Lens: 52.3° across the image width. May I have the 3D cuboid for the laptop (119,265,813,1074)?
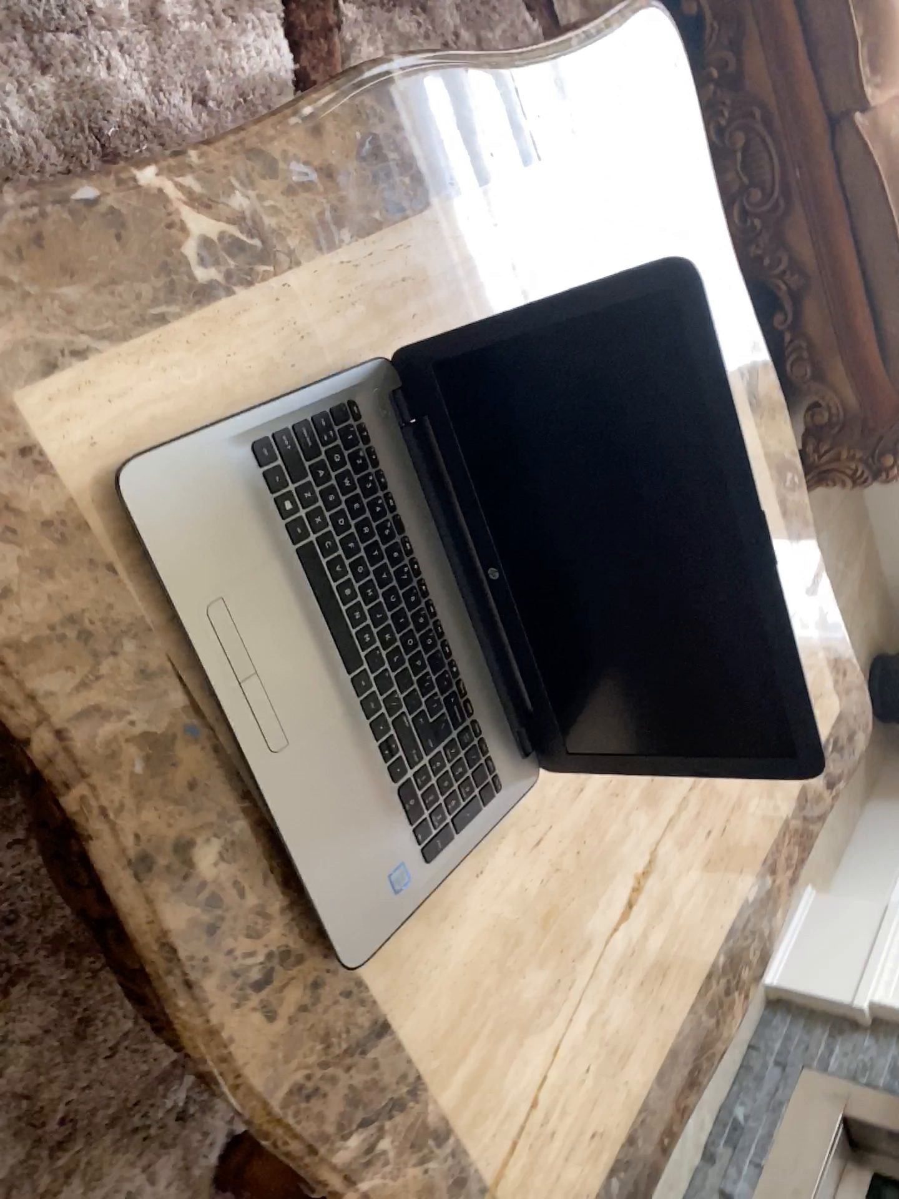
[{"bbox_3d":[0.036,0.029,0.594,0.266,0.240,0.372,-37,114,-43],"label":"laptop"}]
